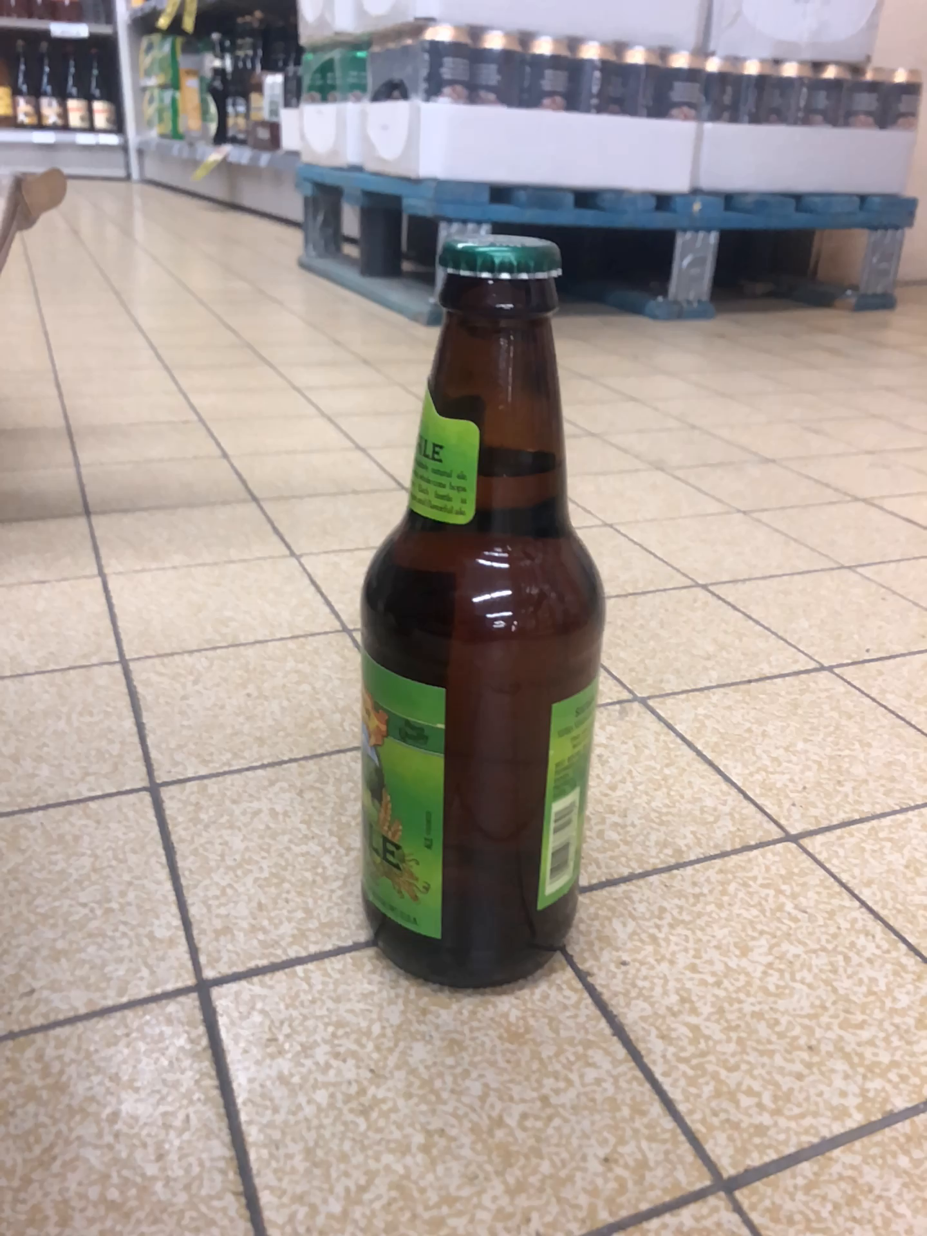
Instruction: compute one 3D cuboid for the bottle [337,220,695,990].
[{"bbox_3d":[0.005,0.001,0.265,0.070,0.189,0.060,2,24,-4],"label":"bottle"}]
